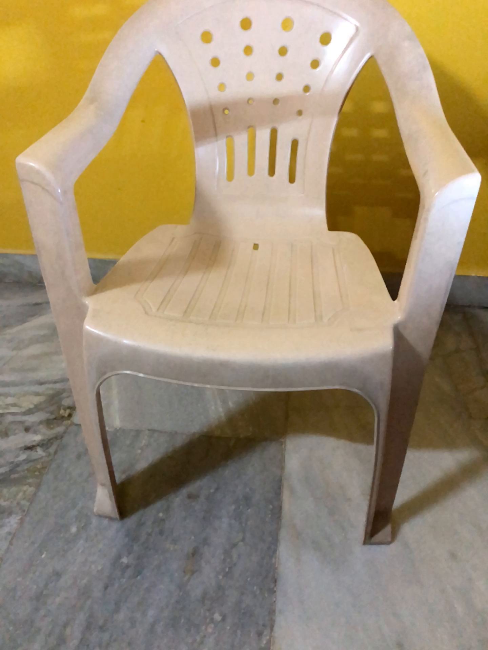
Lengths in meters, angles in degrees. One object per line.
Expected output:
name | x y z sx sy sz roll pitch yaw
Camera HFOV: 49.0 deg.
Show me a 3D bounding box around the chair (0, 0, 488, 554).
chair | 0.015 -0.137 0.852 0.530 0.784 0.564 3 37 5
